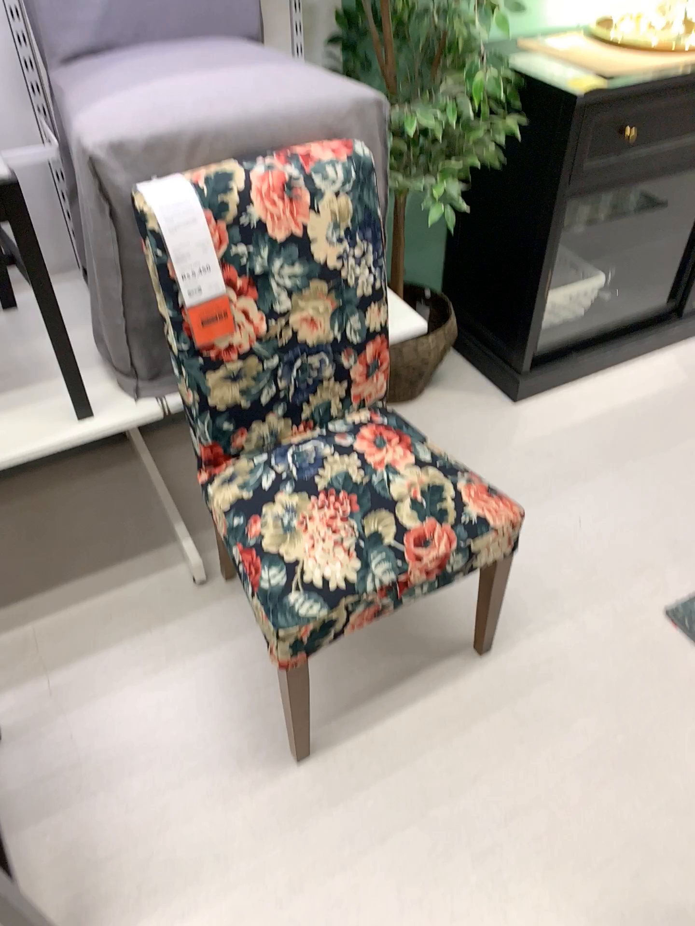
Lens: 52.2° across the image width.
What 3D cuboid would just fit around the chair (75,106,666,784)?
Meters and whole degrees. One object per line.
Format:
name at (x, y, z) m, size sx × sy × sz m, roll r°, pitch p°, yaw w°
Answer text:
chair at (-0.008, -0.025, 1.246) m, size 0.560 × 0.886 × 0.602 m, roll -21°, pitch 47°, yaw -20°
